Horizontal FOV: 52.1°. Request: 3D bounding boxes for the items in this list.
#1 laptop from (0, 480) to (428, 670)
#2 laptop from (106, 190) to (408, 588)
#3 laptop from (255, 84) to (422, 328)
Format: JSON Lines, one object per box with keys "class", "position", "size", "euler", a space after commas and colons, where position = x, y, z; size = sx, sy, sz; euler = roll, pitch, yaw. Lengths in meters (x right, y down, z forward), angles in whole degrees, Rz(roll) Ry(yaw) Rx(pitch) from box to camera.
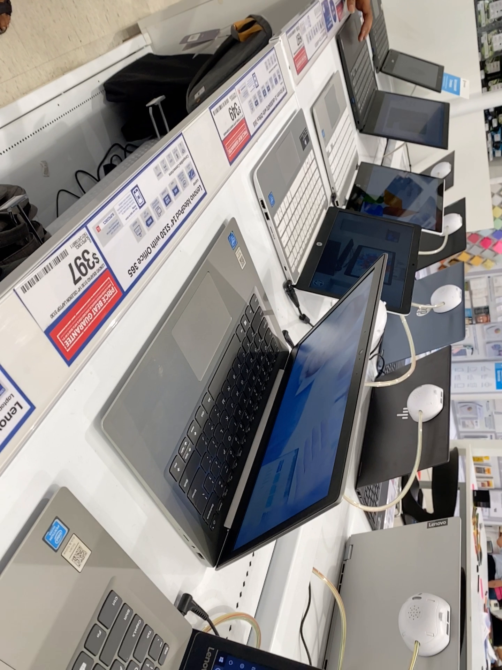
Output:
{"class": "laptop", "position": [-0.037, 0.328, 0.299], "size": [0.310, 0.215, 0.330], "euler": [67, 31, -34]}
{"class": "laptop", "position": [0.048, 0.043, 0.555], "size": [0.231, 0.171, 0.331], "euler": [66, 33, -35]}
{"class": "laptop", "position": [0.173, -0.217, 0.866], "size": [0.285, 0.155, 0.305], "euler": [65, 32, -33]}
